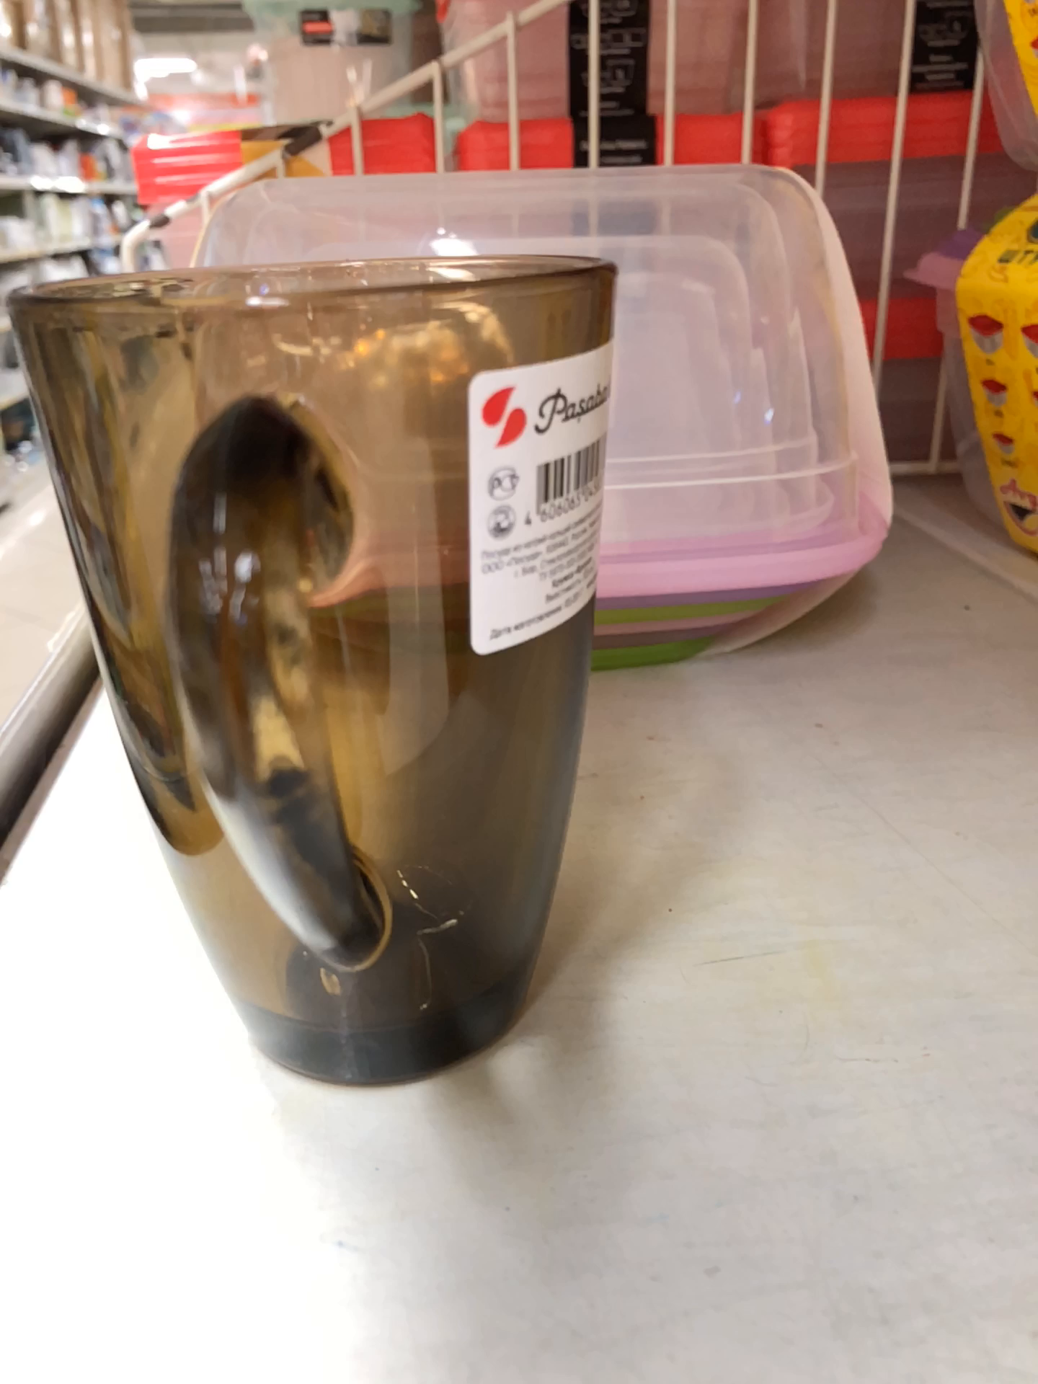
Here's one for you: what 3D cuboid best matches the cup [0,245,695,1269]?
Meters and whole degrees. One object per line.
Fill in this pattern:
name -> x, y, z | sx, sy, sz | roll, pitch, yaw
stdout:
cup -> -0.031, -0.009, 0.163 | 0.072, 0.096, 0.112 | -9, 22, -13
